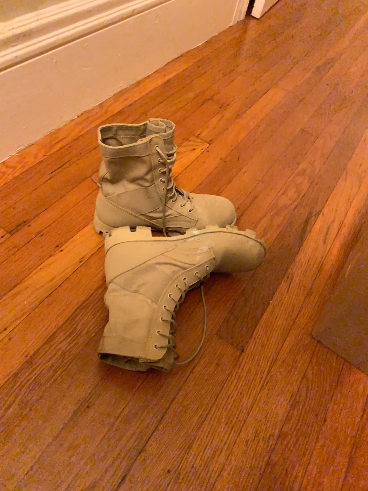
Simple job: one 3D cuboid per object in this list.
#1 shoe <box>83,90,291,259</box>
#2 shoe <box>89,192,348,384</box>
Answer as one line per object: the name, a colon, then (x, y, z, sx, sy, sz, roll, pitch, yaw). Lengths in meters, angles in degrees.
shoe: (-0.014, -0.113, 0.665, 0.300, 0.199, 0.191, 1, 54, -12)
shoe: (0.030, 0.059, 0.566, 0.310, 0.119, 0.251, 4, 45, -10)
